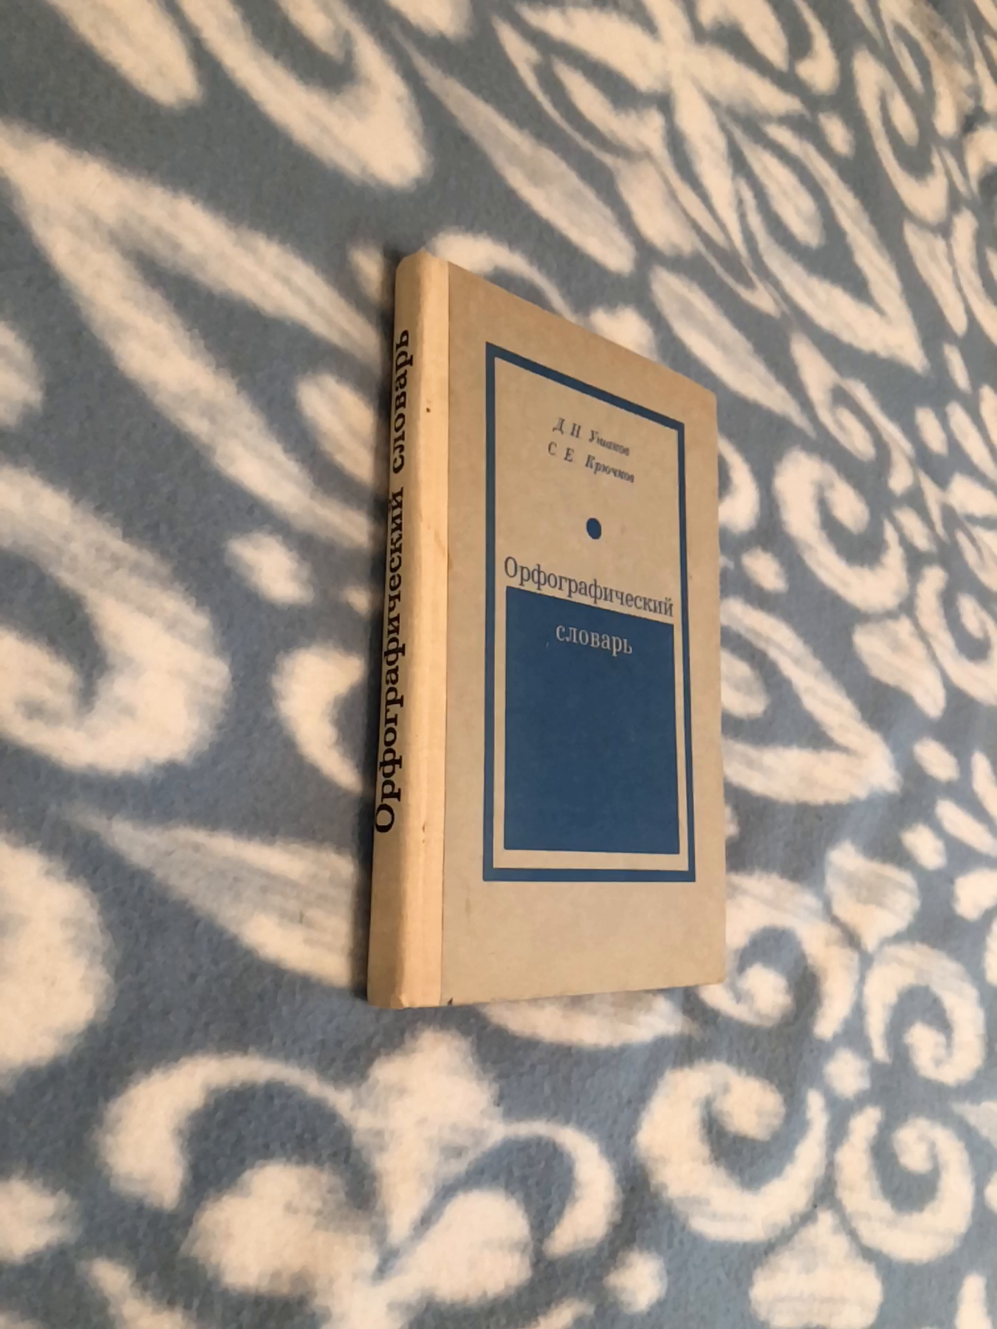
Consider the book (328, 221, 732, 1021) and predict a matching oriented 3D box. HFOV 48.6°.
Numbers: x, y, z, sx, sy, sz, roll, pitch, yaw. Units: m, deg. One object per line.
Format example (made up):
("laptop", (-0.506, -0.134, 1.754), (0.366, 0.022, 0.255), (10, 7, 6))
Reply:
("book", (0.018, -0.007, 0.334), (0.137, 0.022, 0.210), (11, 75, -41))
